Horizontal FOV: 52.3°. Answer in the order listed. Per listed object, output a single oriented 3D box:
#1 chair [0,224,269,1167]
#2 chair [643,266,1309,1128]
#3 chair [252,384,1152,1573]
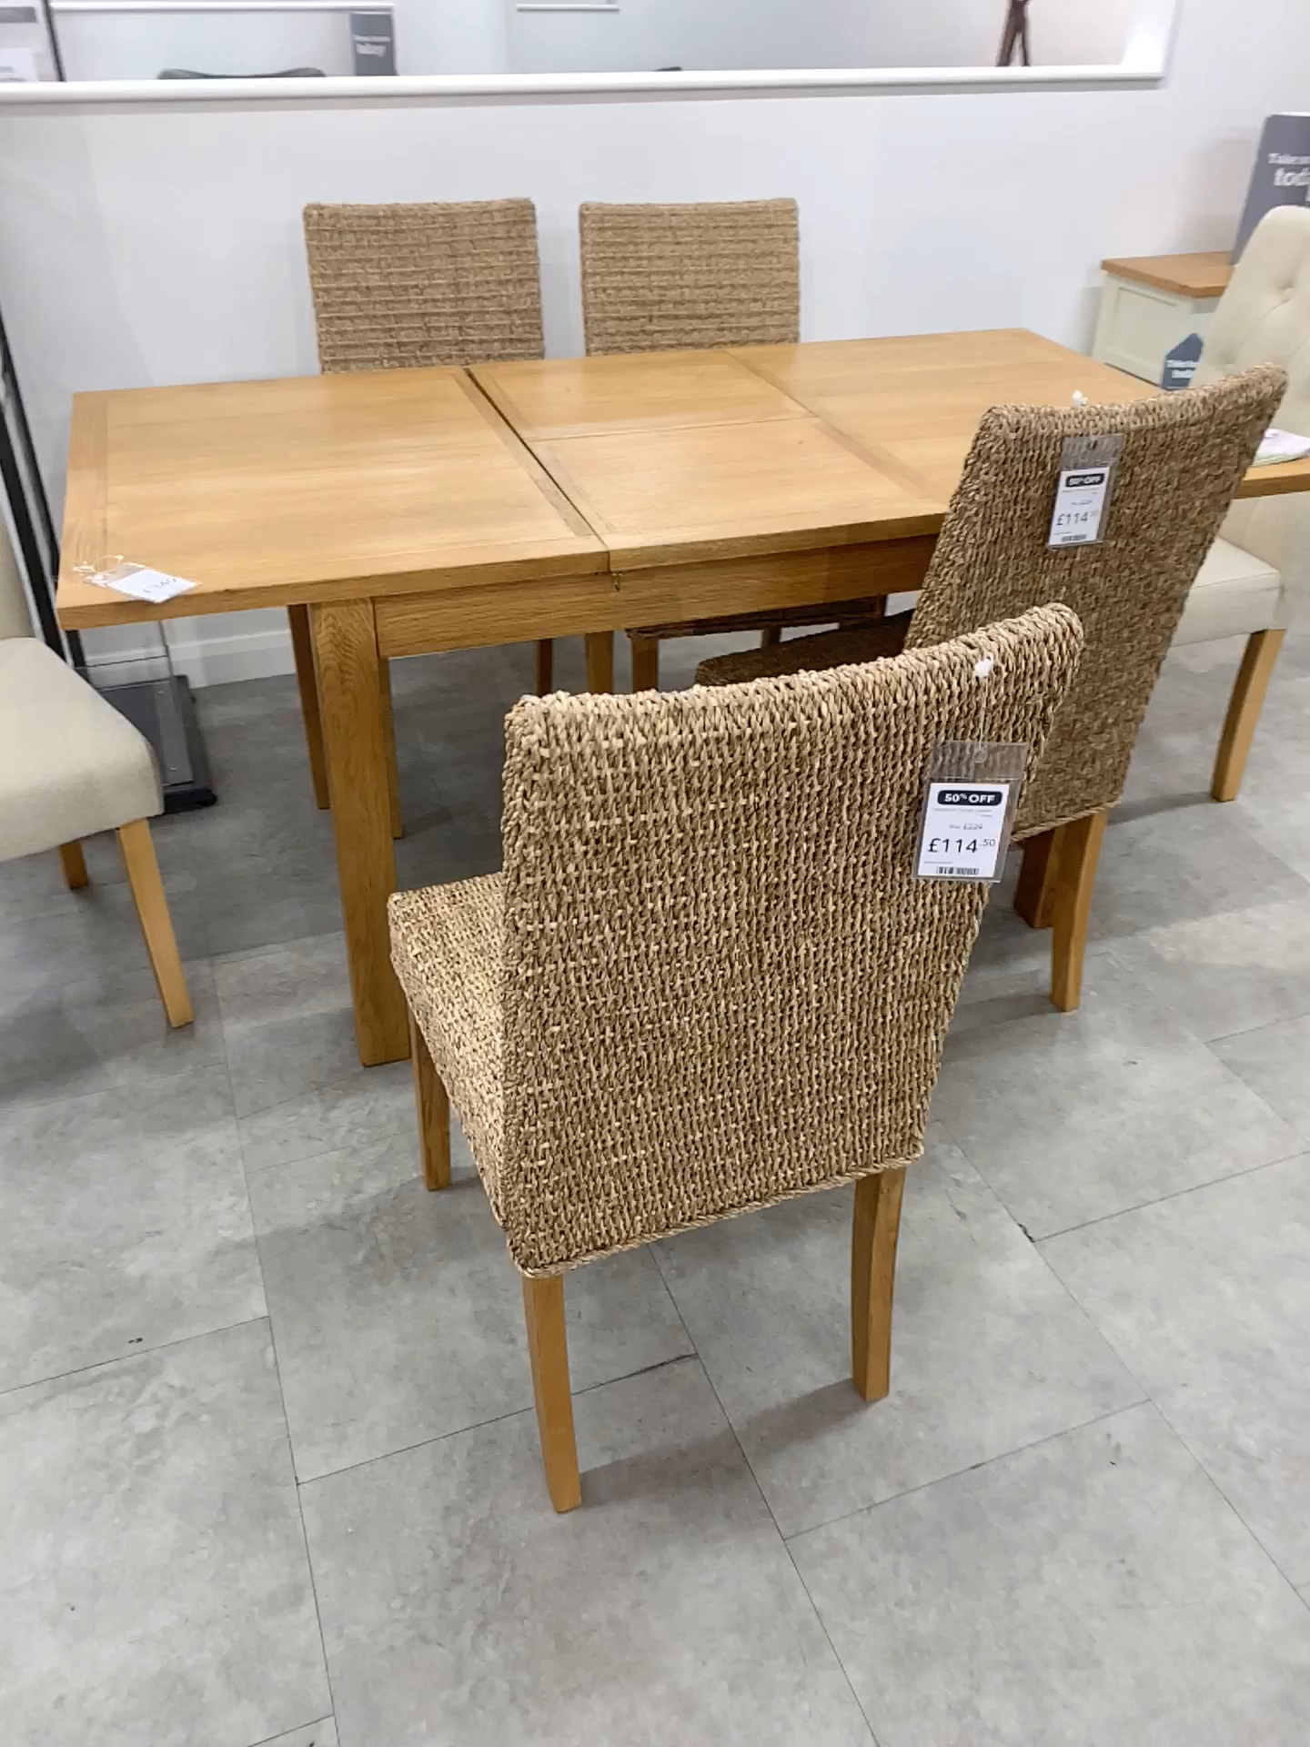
[{"bbox_3d":[-0.846,-0.256,1.618,0.425,0.840,0.730,-17,38,-25],"label":"chair"},{"bbox_3d":[0.351,-0.252,1.740,0.525,0.870,0.569,-16,38,-23],"label":"chair"},{"bbox_3d":[-0.020,0.070,1.245,0.505,0.840,0.579,-11,36,-17],"label":"chair"}]
